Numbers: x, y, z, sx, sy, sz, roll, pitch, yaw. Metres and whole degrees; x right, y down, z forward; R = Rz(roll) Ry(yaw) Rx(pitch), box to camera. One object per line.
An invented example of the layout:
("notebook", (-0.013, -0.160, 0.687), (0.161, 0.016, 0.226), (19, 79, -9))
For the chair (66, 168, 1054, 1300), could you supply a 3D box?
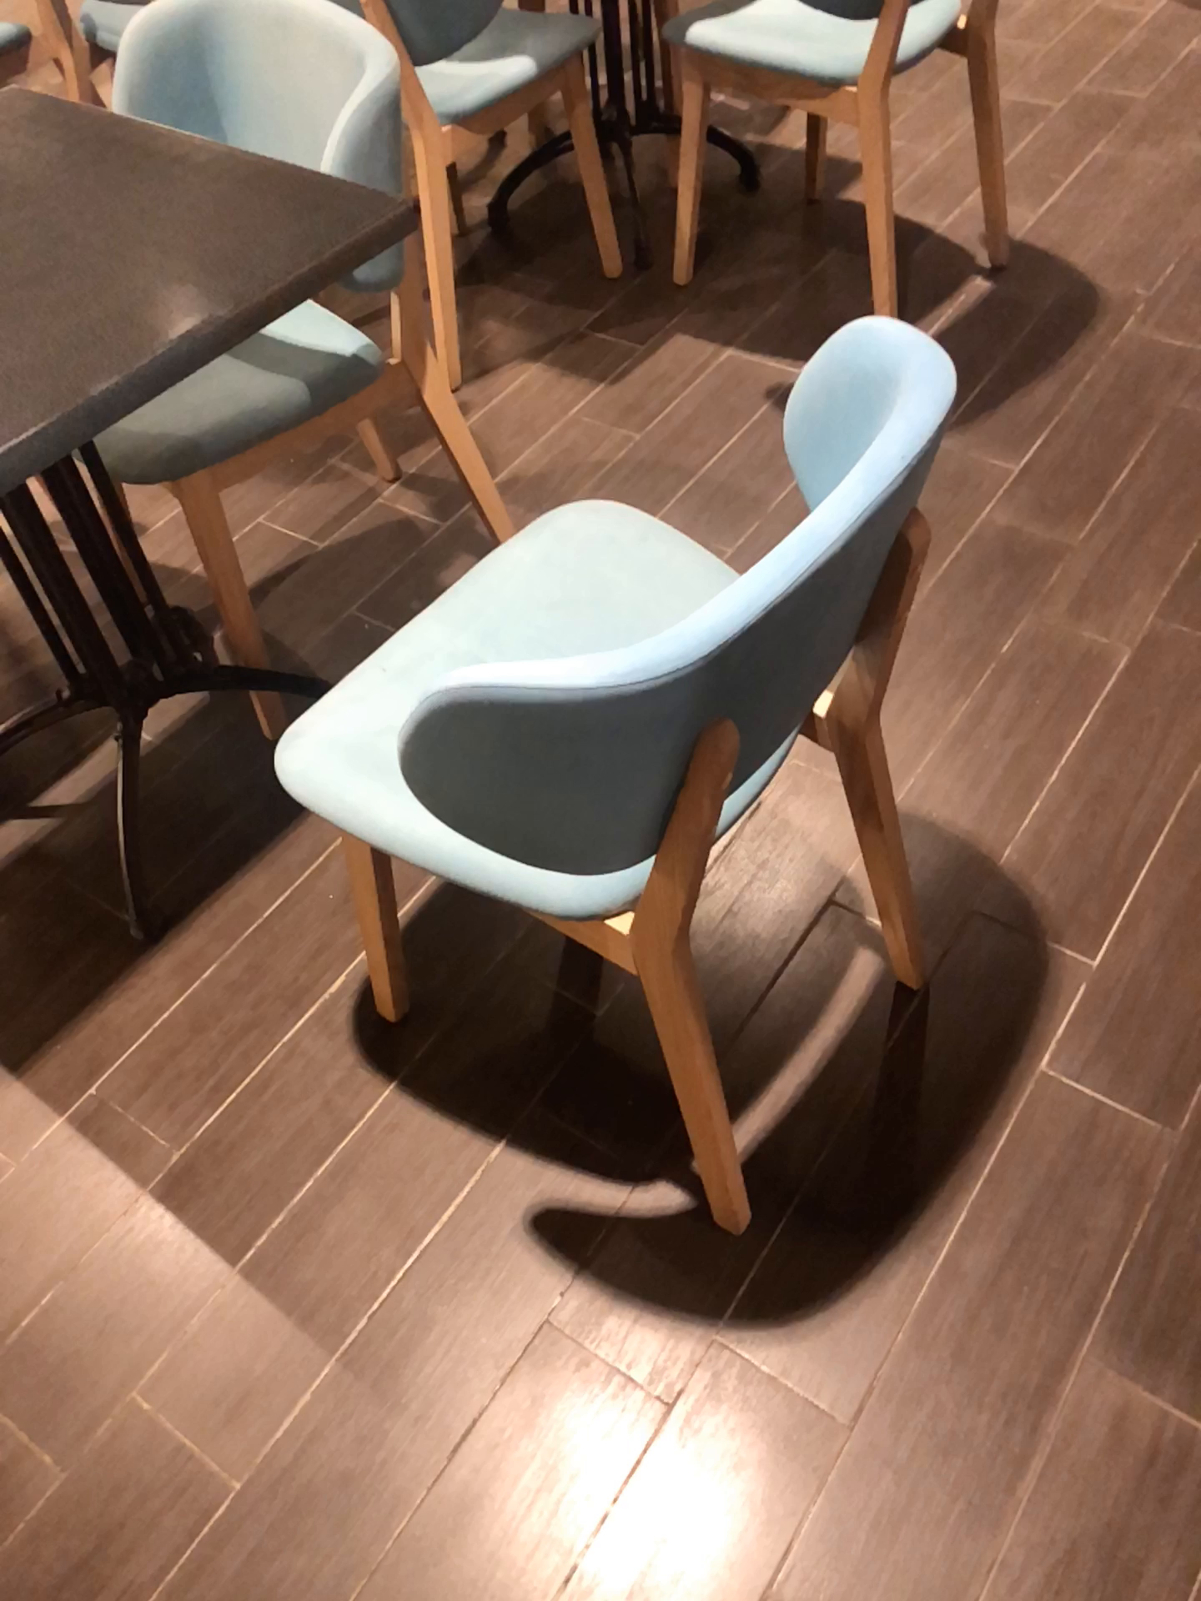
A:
("chair", (0.008, -0.030, 1.229), (0.511, 0.817, 0.481), (28, 58, 28))
